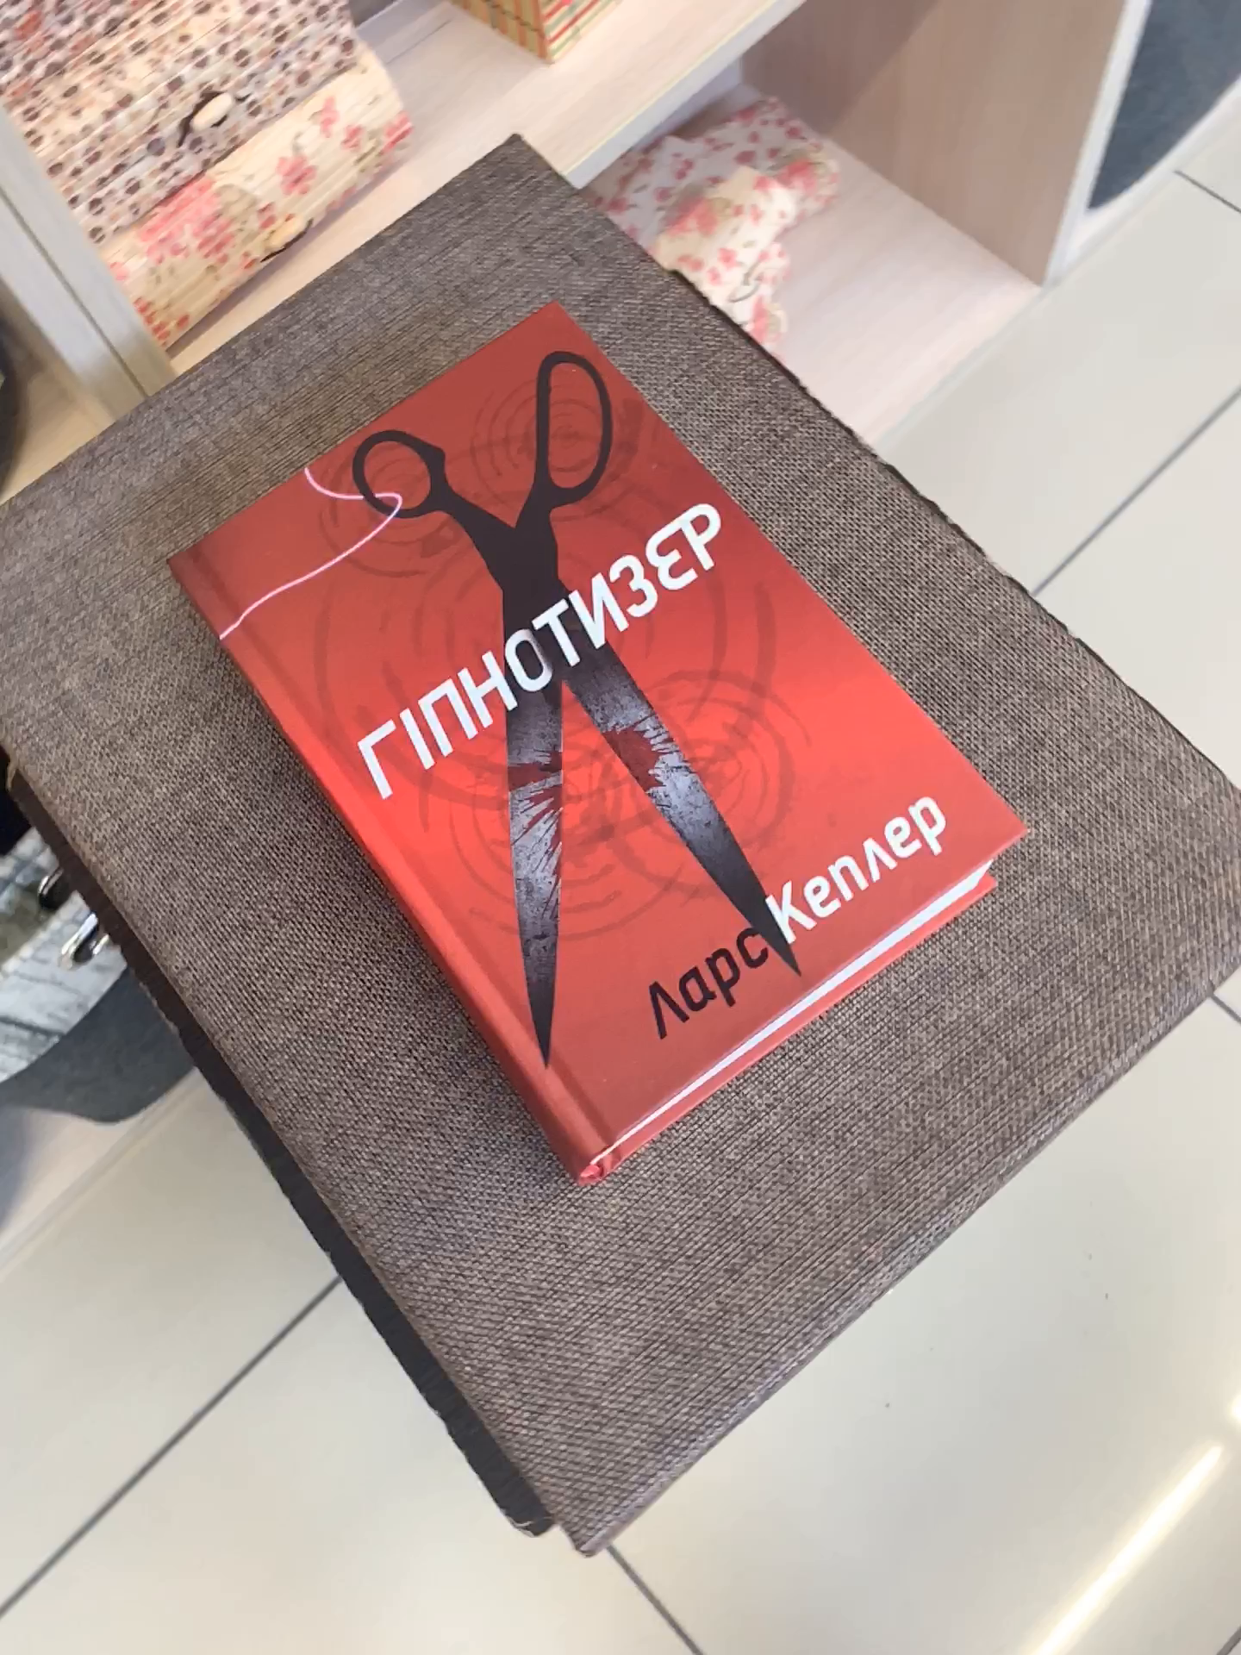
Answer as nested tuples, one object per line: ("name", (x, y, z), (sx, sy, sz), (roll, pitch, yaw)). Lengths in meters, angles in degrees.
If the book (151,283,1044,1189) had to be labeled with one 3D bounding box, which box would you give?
("book", (-0.011, -0.027, 0.339), (0.131, 0.060, 0.195), (-36, 72, -4))
